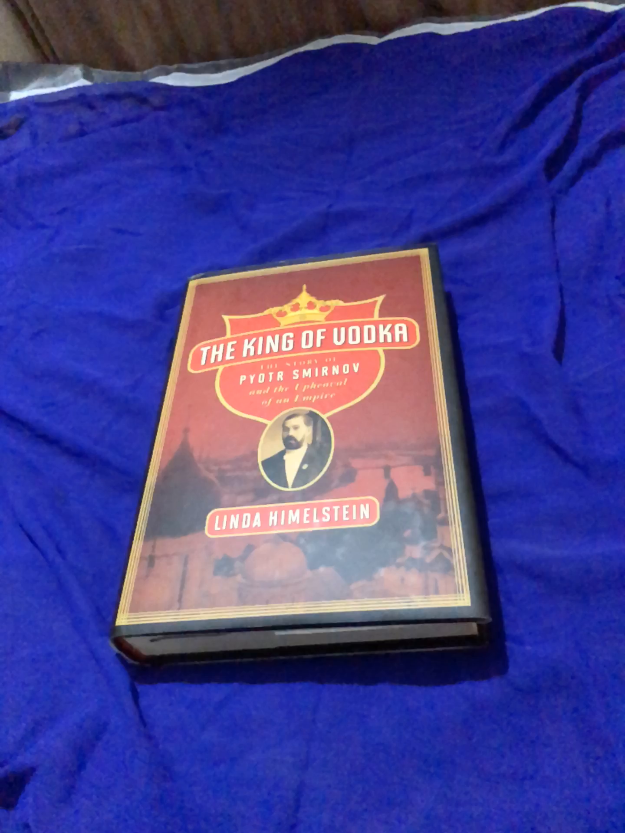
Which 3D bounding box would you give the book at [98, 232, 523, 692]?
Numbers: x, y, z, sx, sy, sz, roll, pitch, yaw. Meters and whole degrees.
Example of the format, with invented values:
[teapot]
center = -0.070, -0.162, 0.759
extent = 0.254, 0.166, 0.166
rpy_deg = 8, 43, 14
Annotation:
[book]
center = 0.002, 0.008, 0.374
extent = 0.170, 0.050, 0.251
rpy_deg = -6, 49, 8
